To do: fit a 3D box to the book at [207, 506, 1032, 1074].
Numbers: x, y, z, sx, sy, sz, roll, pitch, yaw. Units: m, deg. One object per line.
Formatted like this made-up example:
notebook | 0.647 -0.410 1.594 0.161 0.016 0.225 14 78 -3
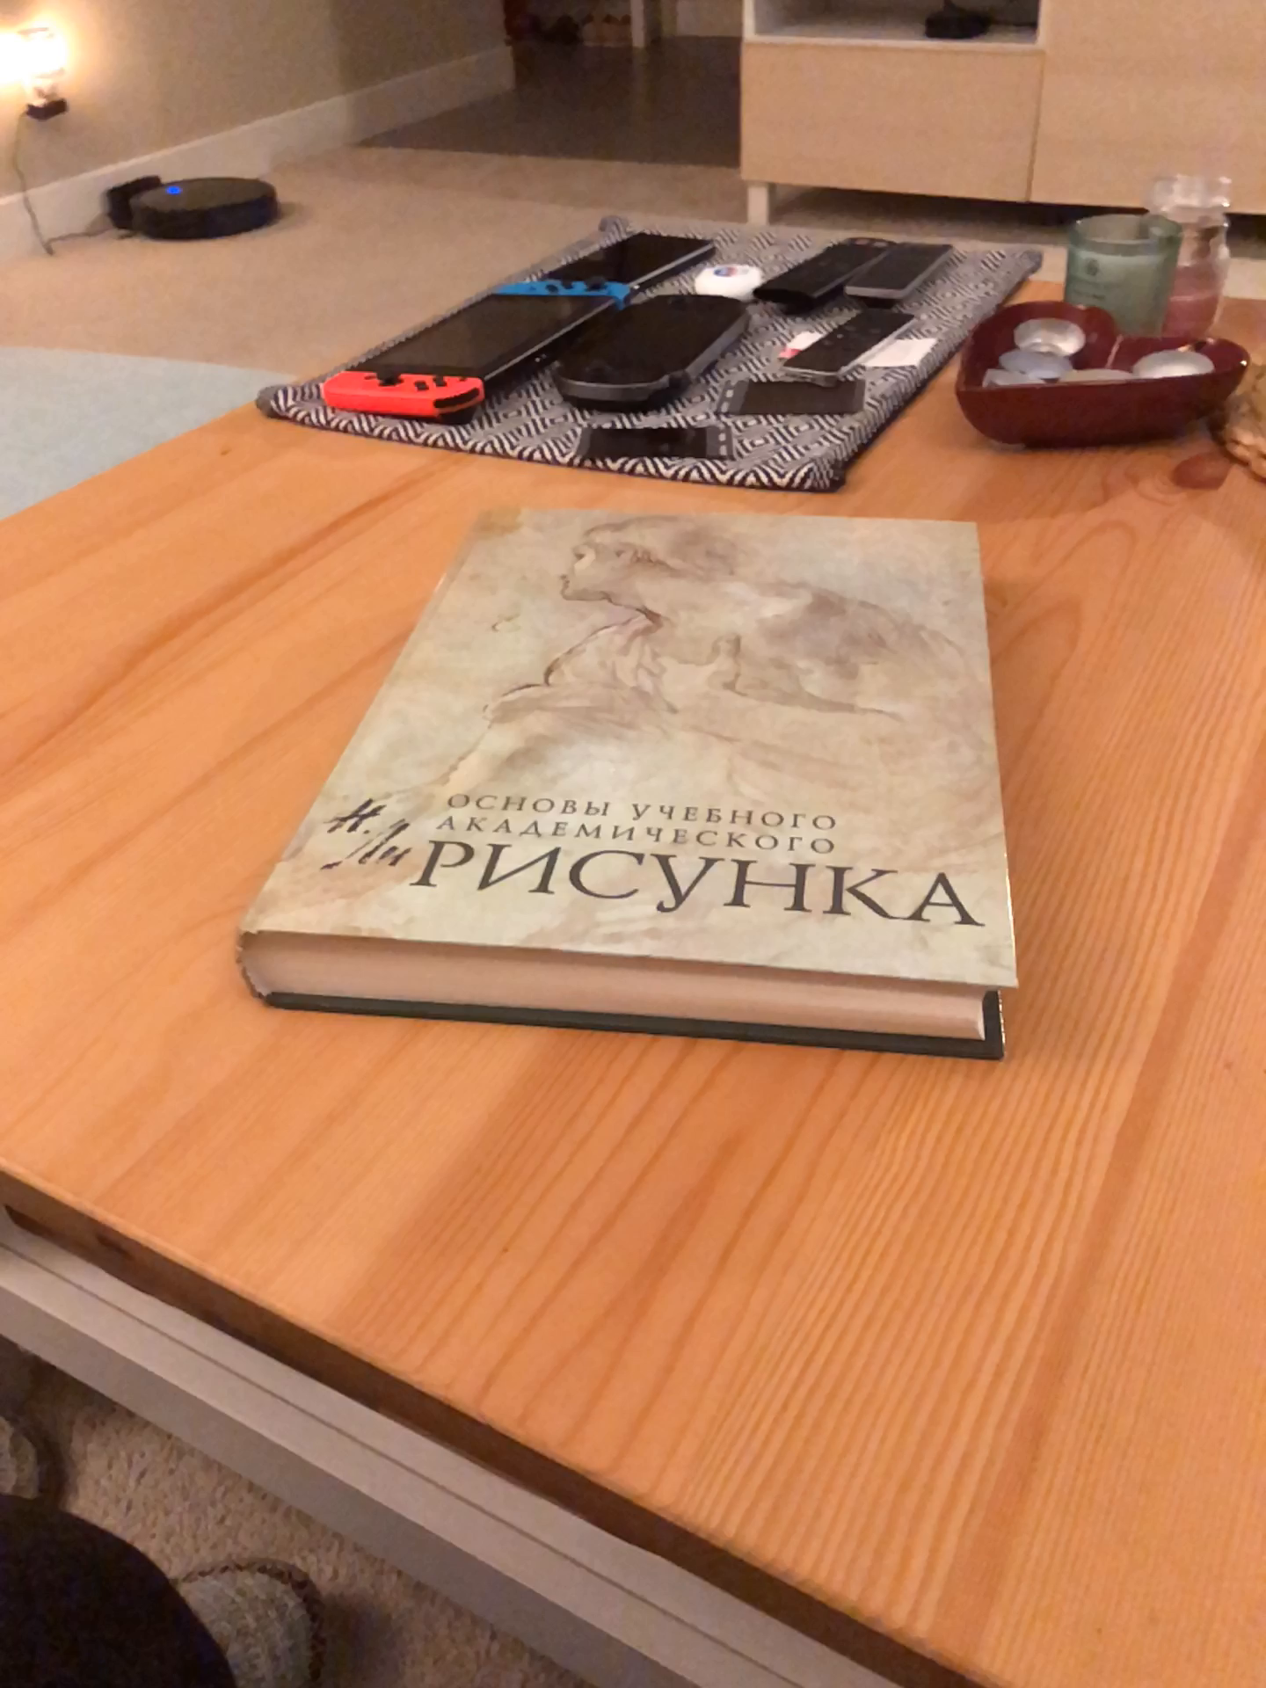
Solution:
book | 0.013 -0.041 0.474 0.214 0.030 0.273 4 37 7
